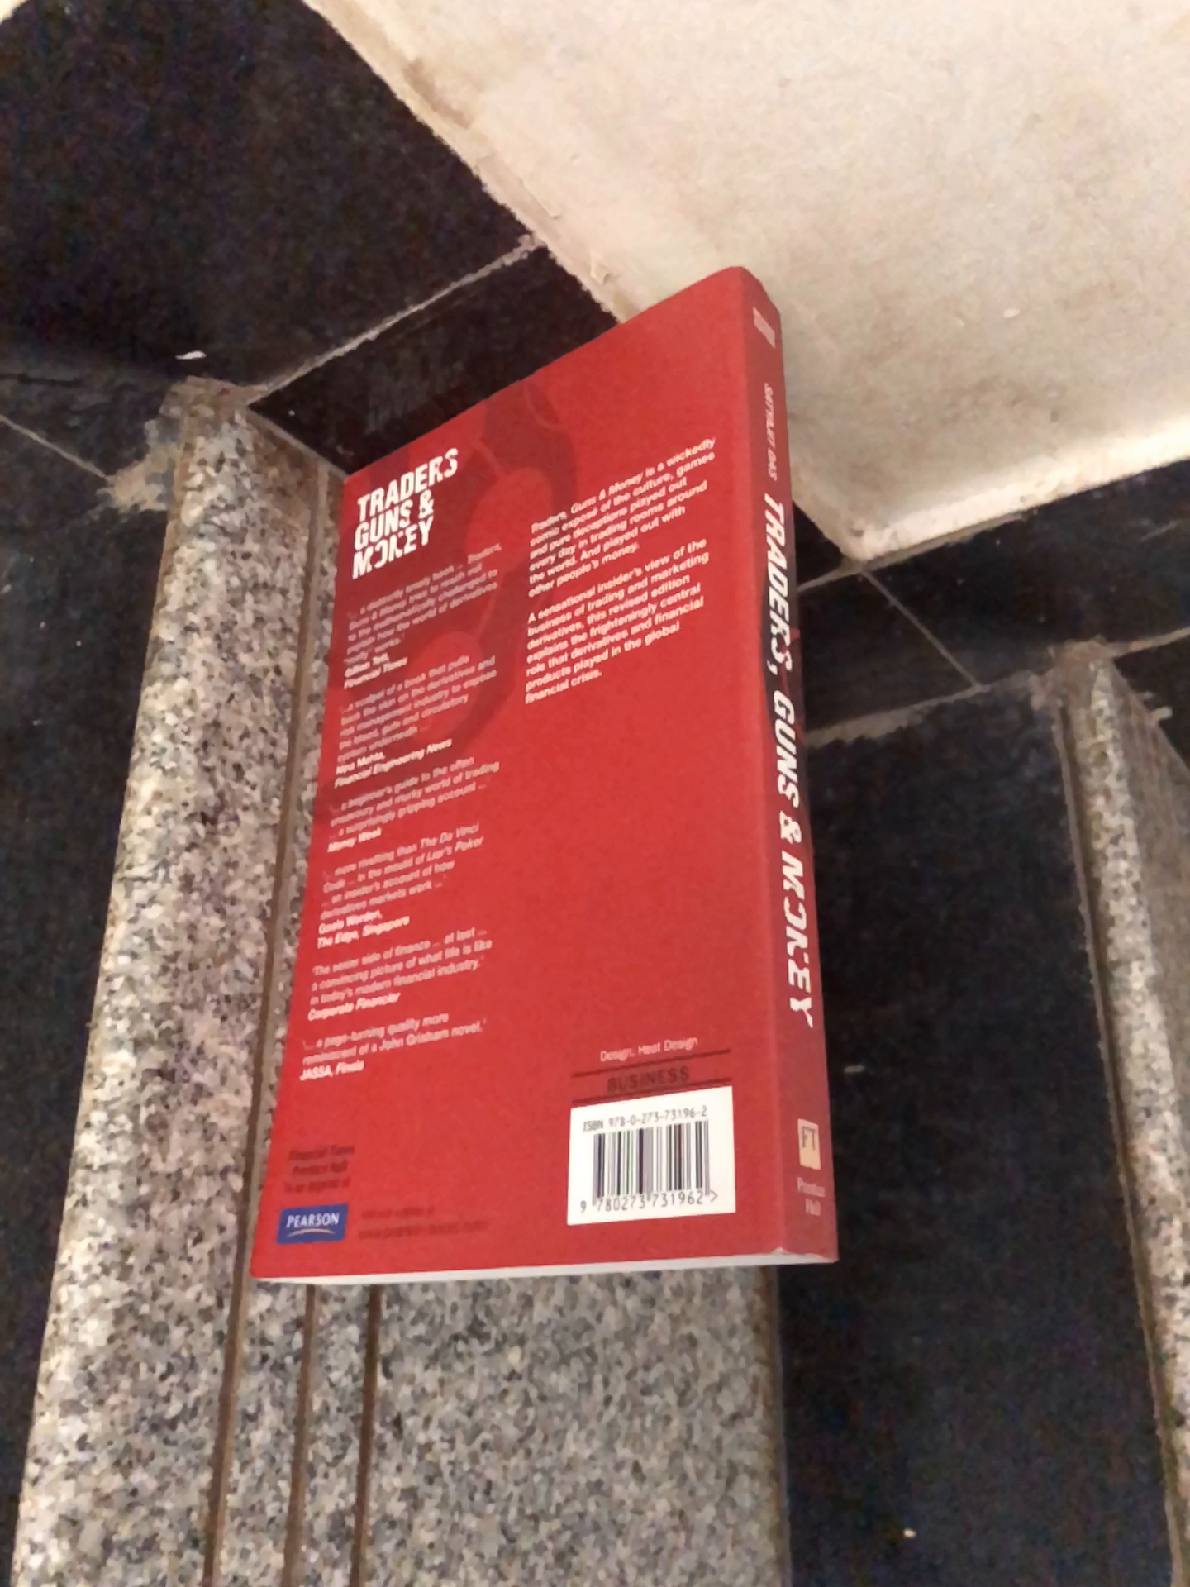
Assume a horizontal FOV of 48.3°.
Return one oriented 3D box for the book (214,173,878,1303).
[{"bbox_3d":[-0.017,-0.009,0.305,0.030,0.149,0.230,25,56,-43],"label":"book"}]
